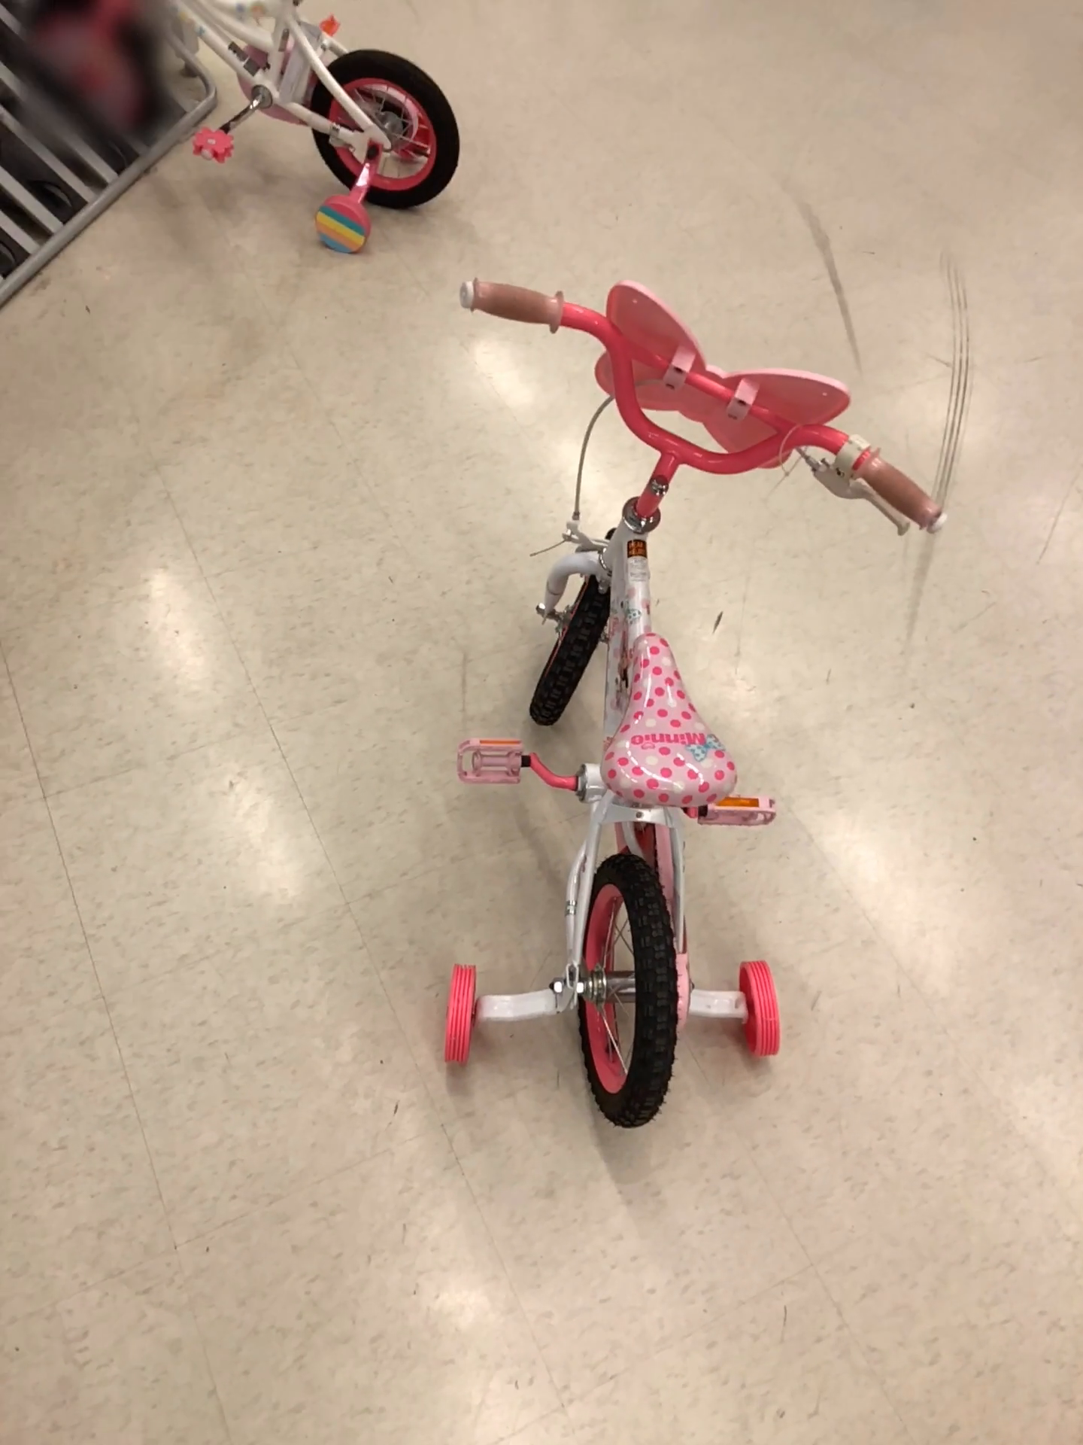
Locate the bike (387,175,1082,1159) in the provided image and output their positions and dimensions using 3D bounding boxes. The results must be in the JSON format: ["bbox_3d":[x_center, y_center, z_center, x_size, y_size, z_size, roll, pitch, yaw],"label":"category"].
[{"bbox_3d":[0.128,-0.037,1.258,0.510,0.680,0.777,2,53,-4],"label":"bike"}]
